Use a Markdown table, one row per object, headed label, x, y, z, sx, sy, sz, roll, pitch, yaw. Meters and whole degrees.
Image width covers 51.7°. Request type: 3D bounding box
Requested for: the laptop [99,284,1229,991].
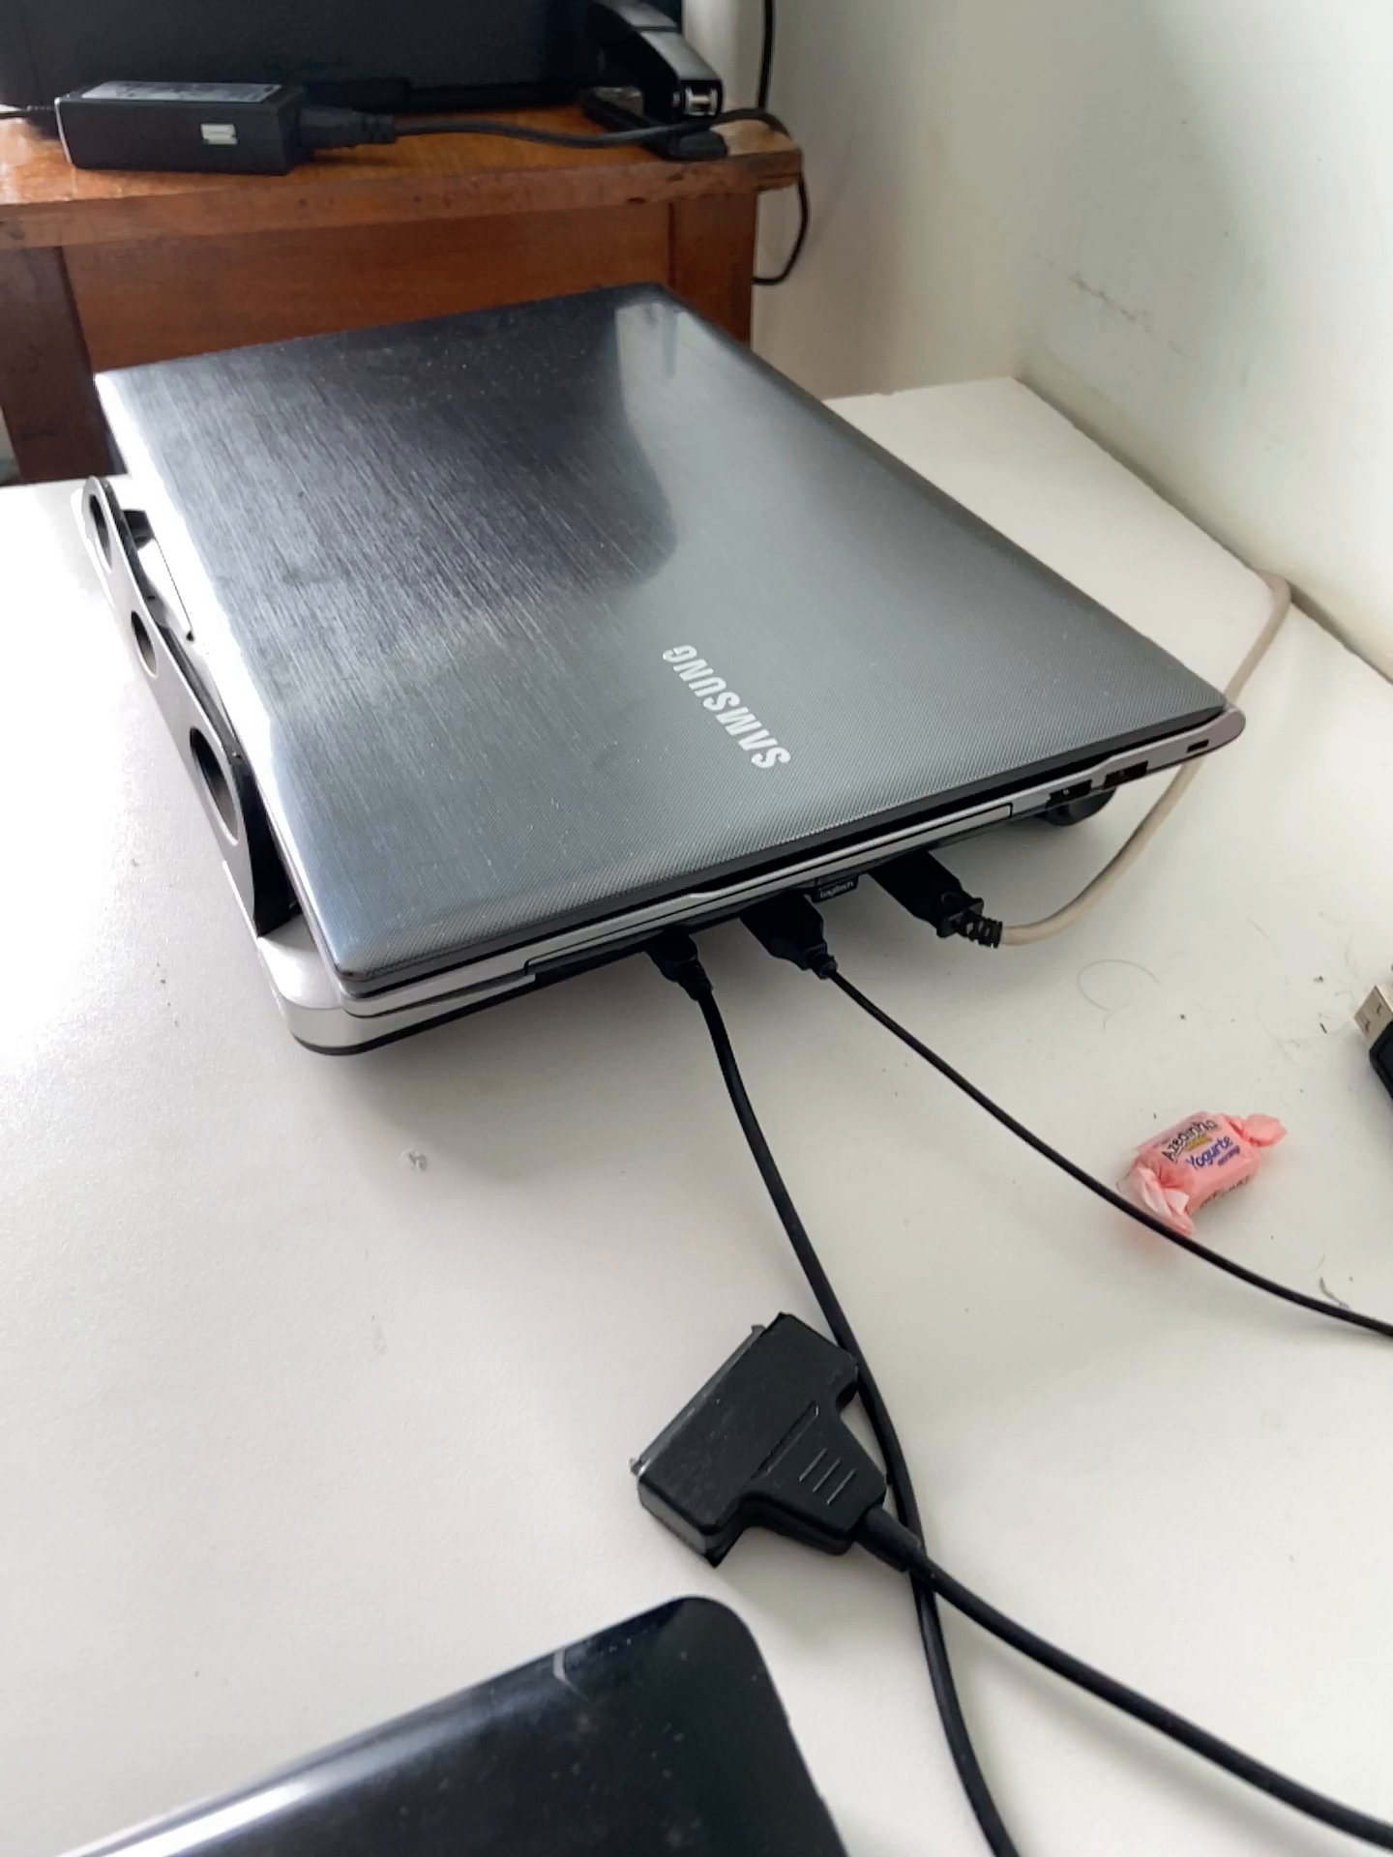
| label | x | y | z | sx | sy | sz | roll | pitch | yaw |
| --- | --- | --- | --- | --- | --- | --- | --- | --- | --- |
| laptop | -0.046 | -0.135 | 0.470 | 0.236 | 0.005 | 0.375 | -18 | 44 | -18 |
